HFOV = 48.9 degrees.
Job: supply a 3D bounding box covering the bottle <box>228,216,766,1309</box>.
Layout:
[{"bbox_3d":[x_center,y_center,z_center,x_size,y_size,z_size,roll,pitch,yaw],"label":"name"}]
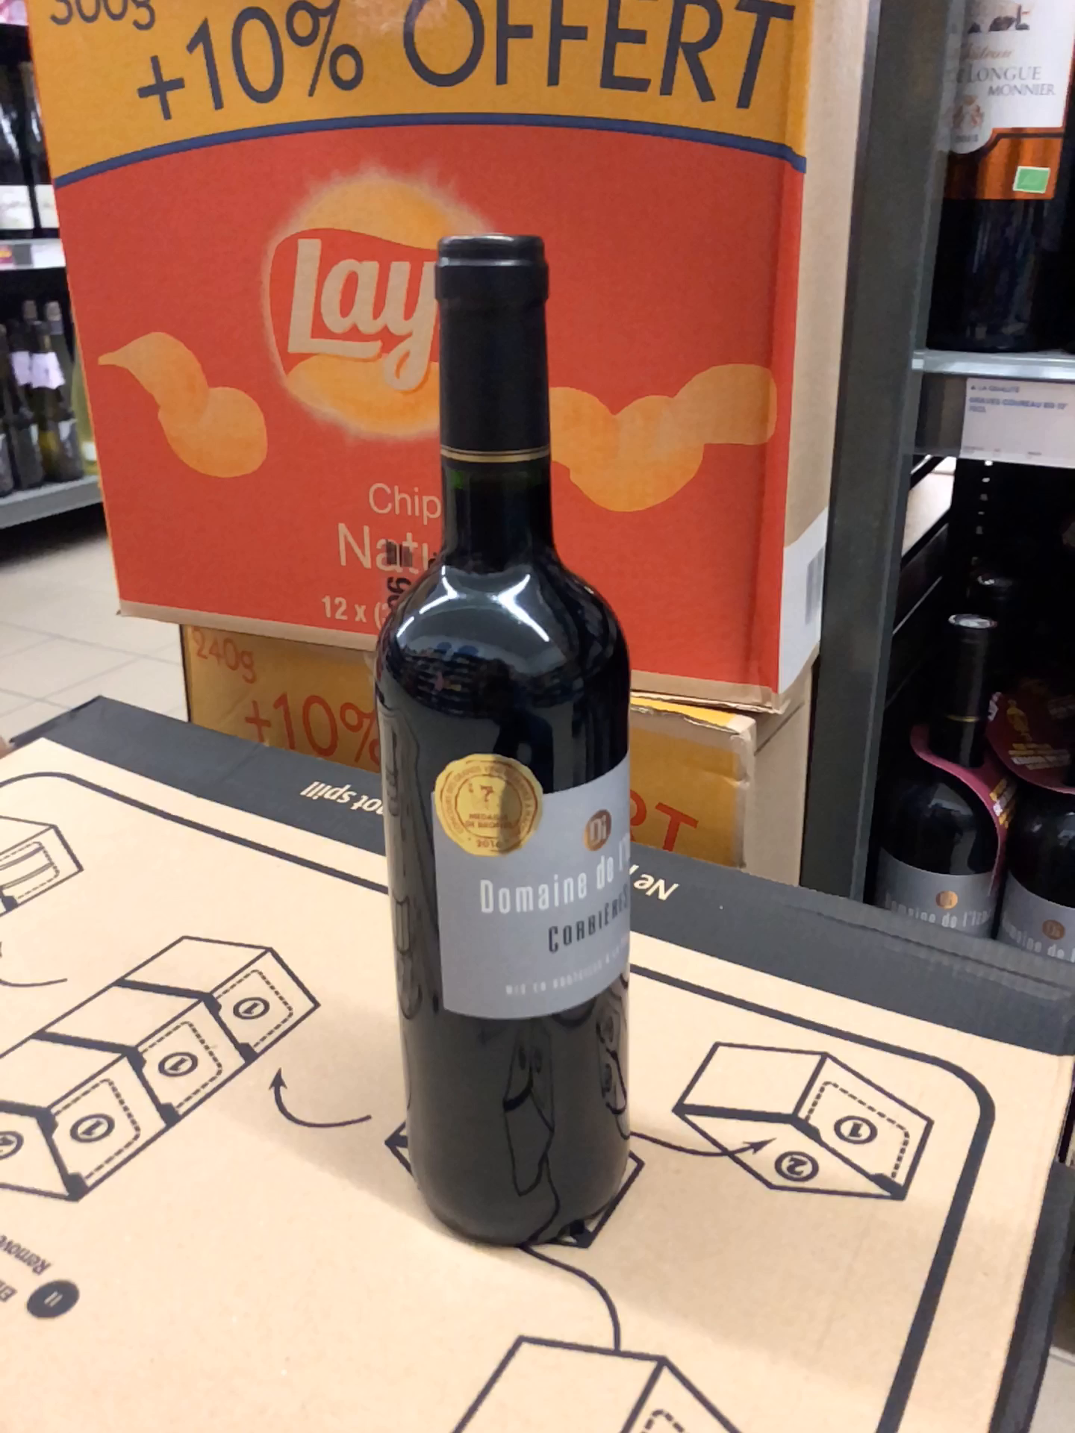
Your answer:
[{"bbox_3d":[-0.008,0.011,0.333,0.090,0.279,0.090,-1,23,0],"label":"bottle"}]
